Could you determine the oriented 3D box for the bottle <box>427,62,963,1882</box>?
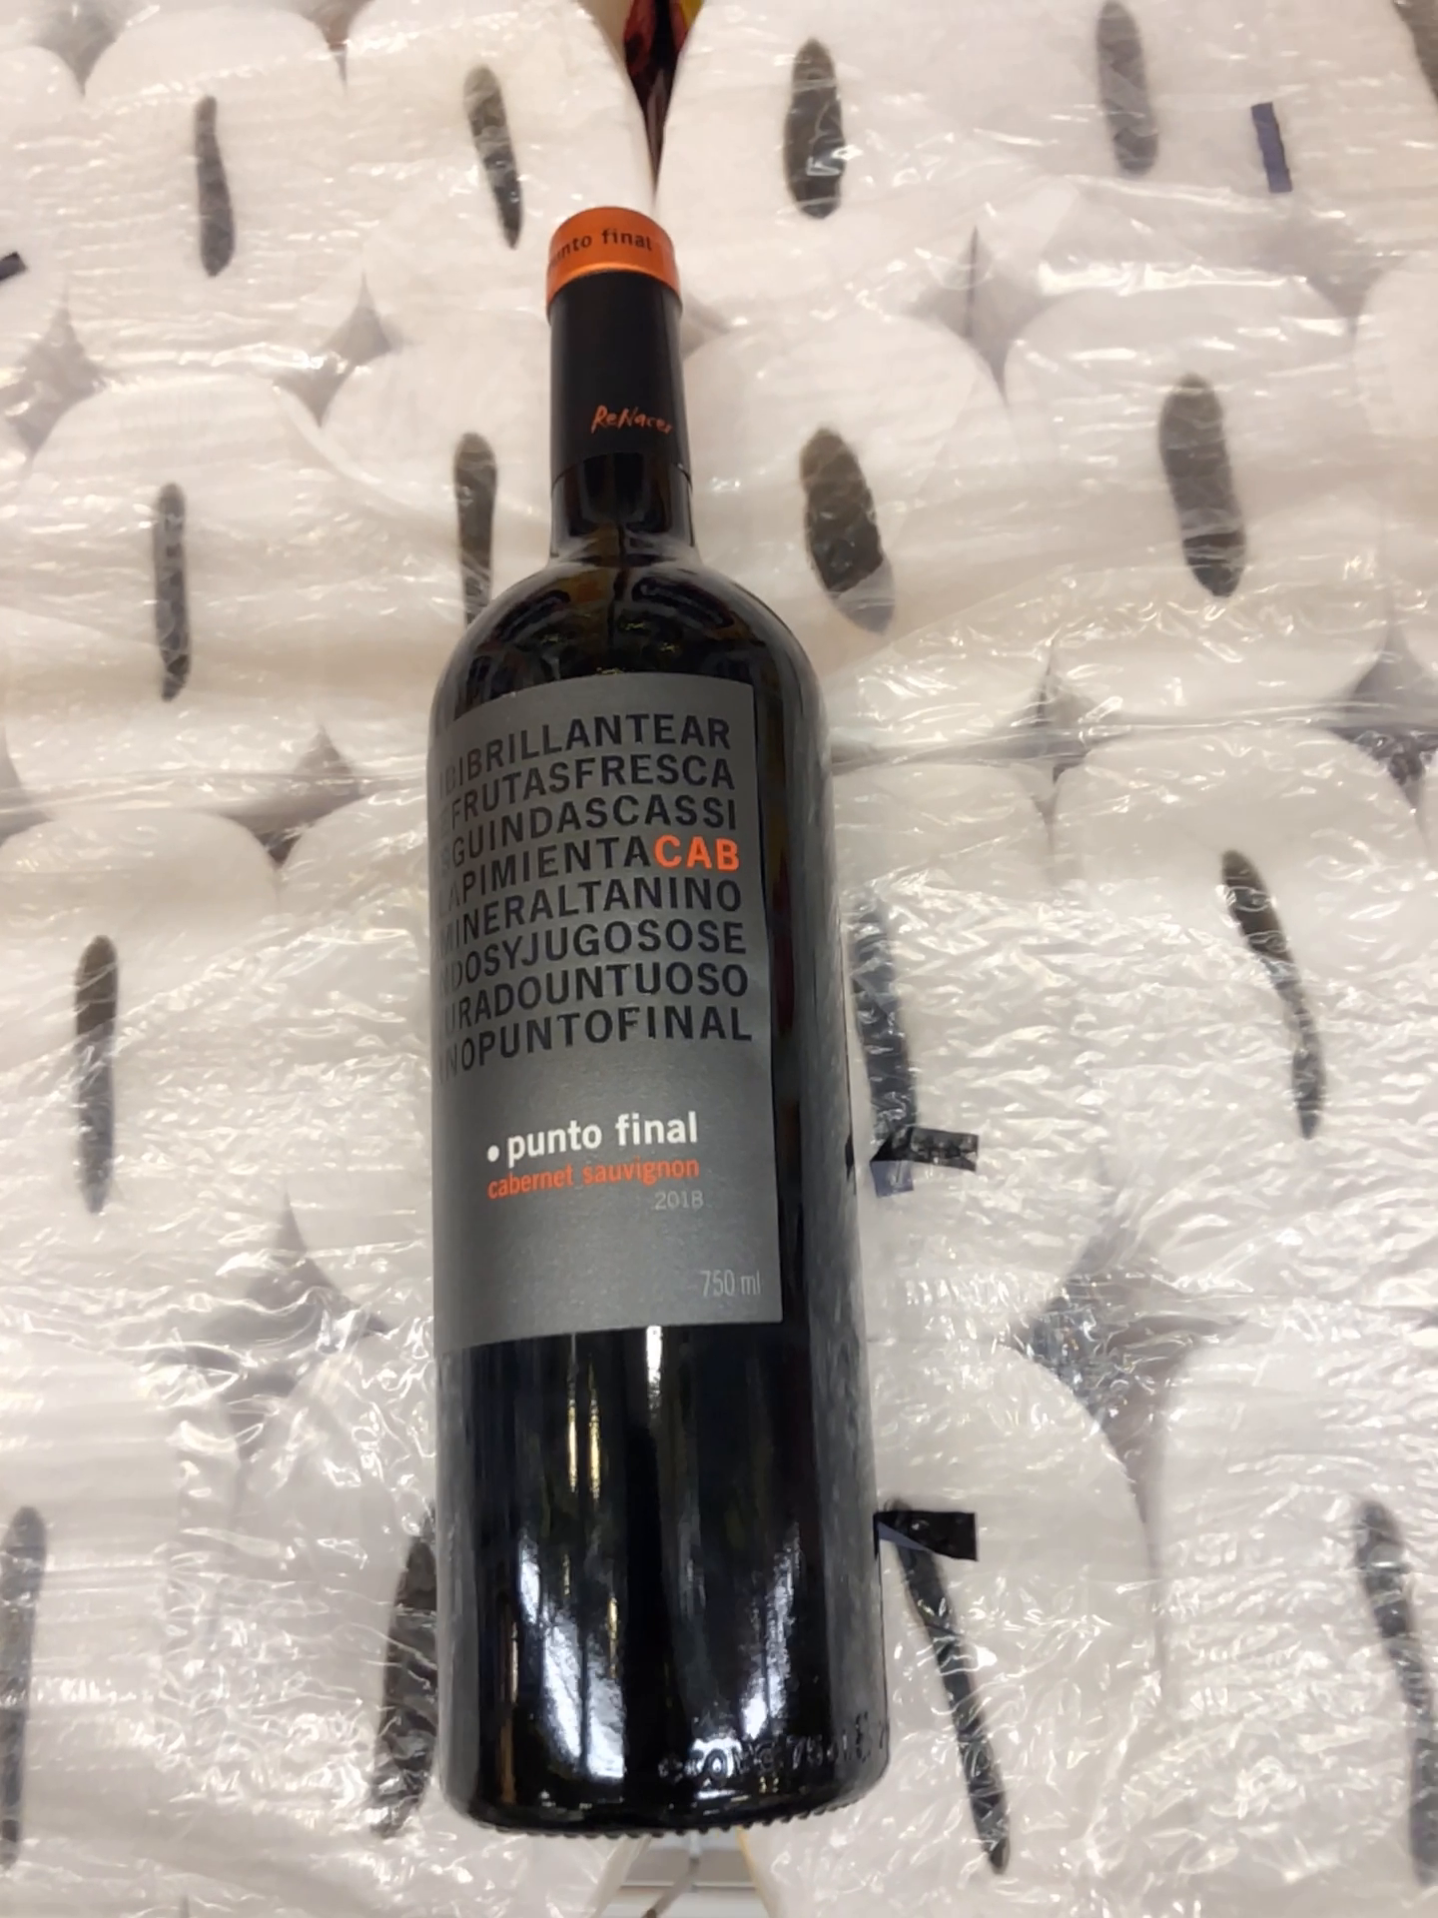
[{"bbox_3d":[-0.009,-0.017,0.289,0.070,0.060,0.311,-5,70,4],"label":"bottle"}]
